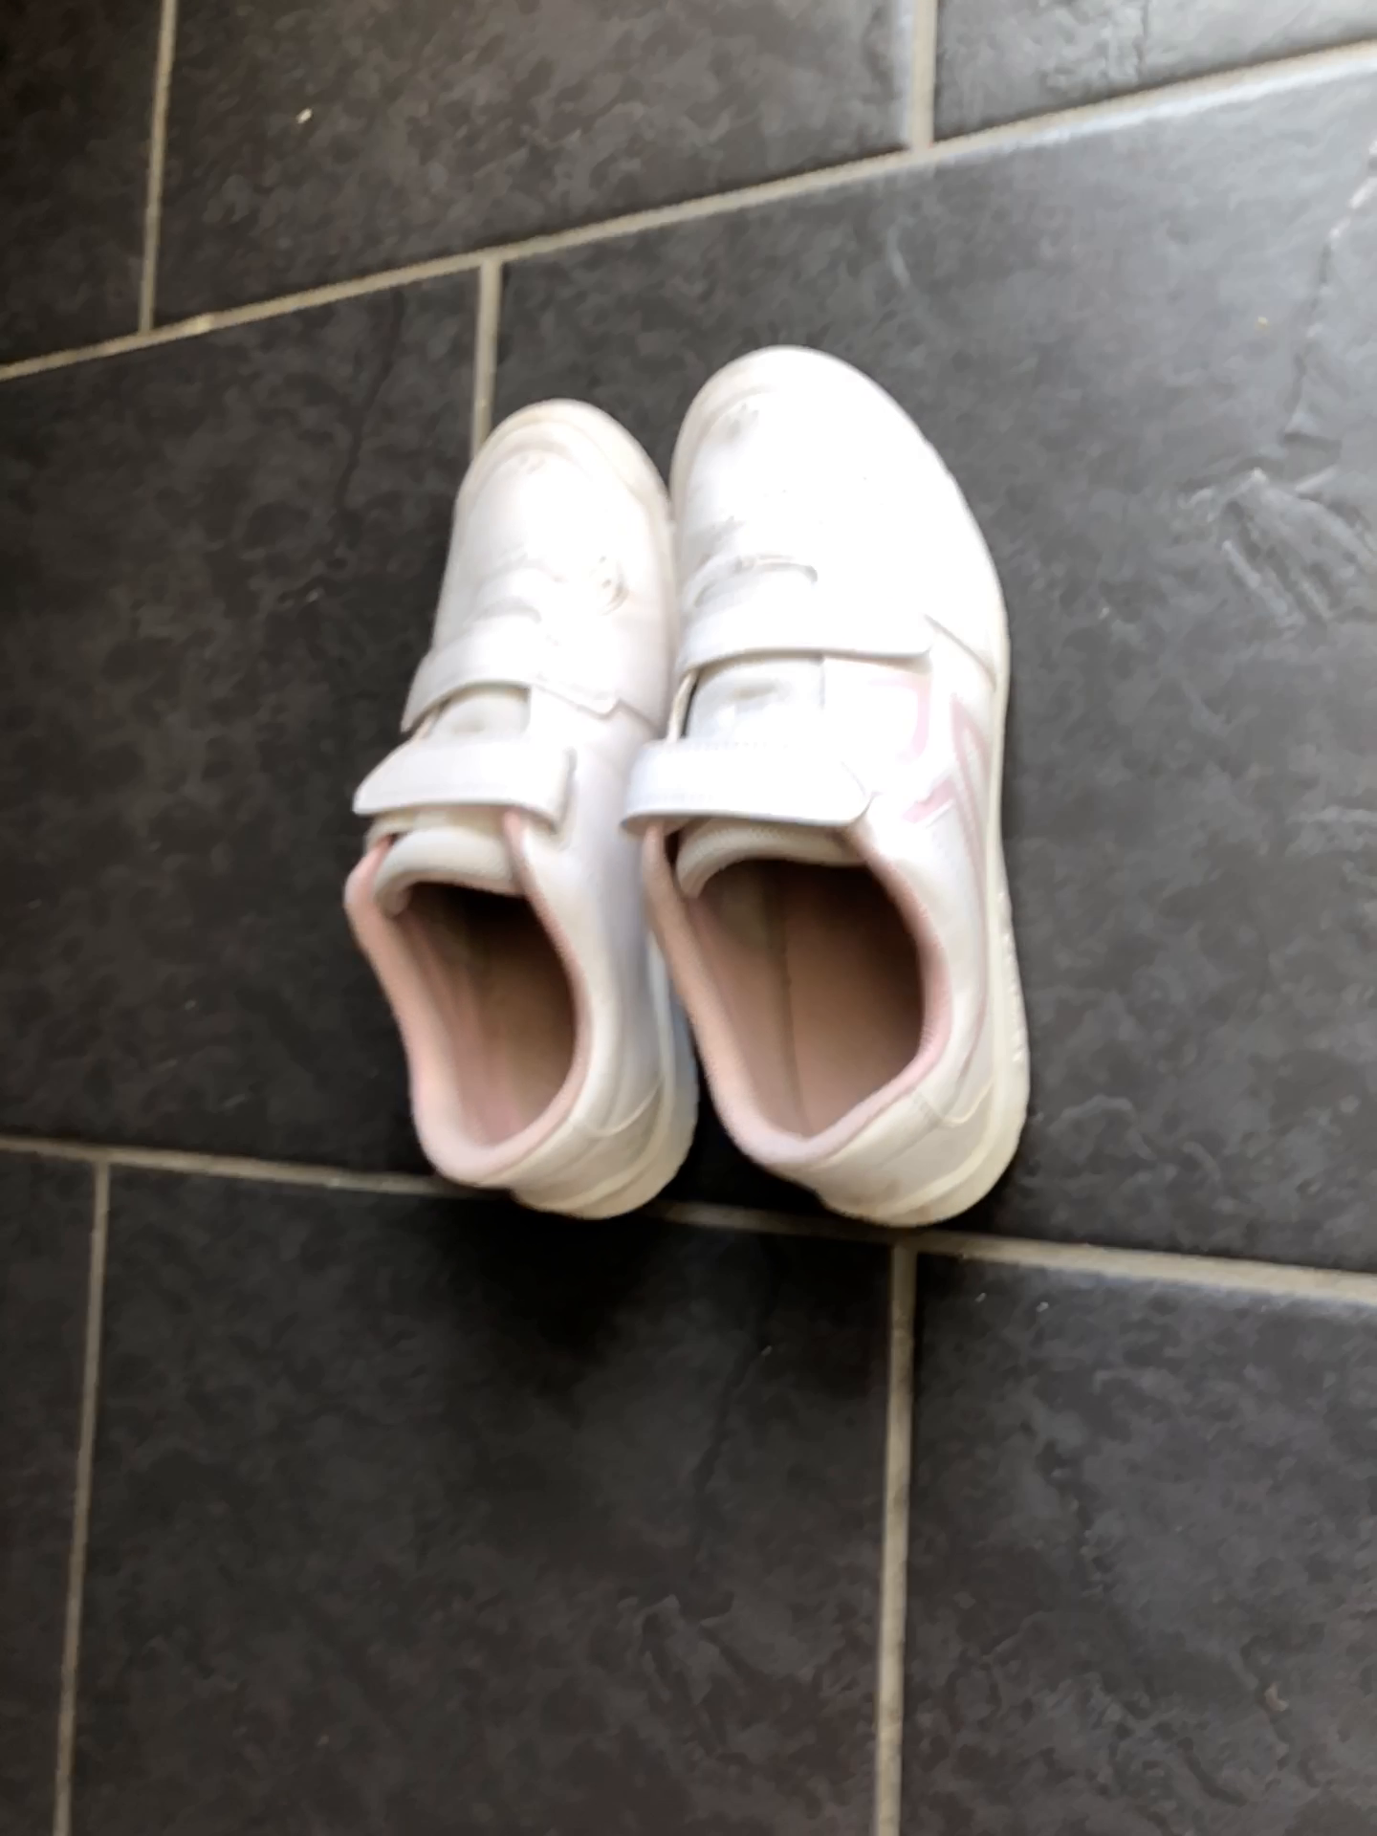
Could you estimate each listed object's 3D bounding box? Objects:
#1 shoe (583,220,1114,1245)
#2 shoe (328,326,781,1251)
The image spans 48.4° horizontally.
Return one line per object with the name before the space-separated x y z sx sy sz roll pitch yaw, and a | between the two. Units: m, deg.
shoe | 0.045 -0.042 0.430 0.095 0.090 0.250 -10 80 27
shoe | -0.041 -0.030 0.467 0.095 0.090 0.250 -7 82 27
